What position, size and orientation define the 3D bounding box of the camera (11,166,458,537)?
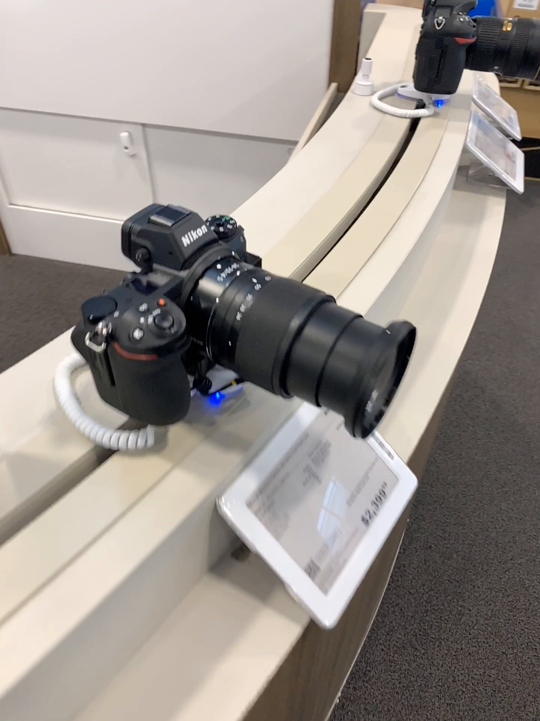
[{"bbox_3d":[-0.020,-0.022,0.348,0.211,0.099,0.141,25,48,23],"label":"camera"}]
